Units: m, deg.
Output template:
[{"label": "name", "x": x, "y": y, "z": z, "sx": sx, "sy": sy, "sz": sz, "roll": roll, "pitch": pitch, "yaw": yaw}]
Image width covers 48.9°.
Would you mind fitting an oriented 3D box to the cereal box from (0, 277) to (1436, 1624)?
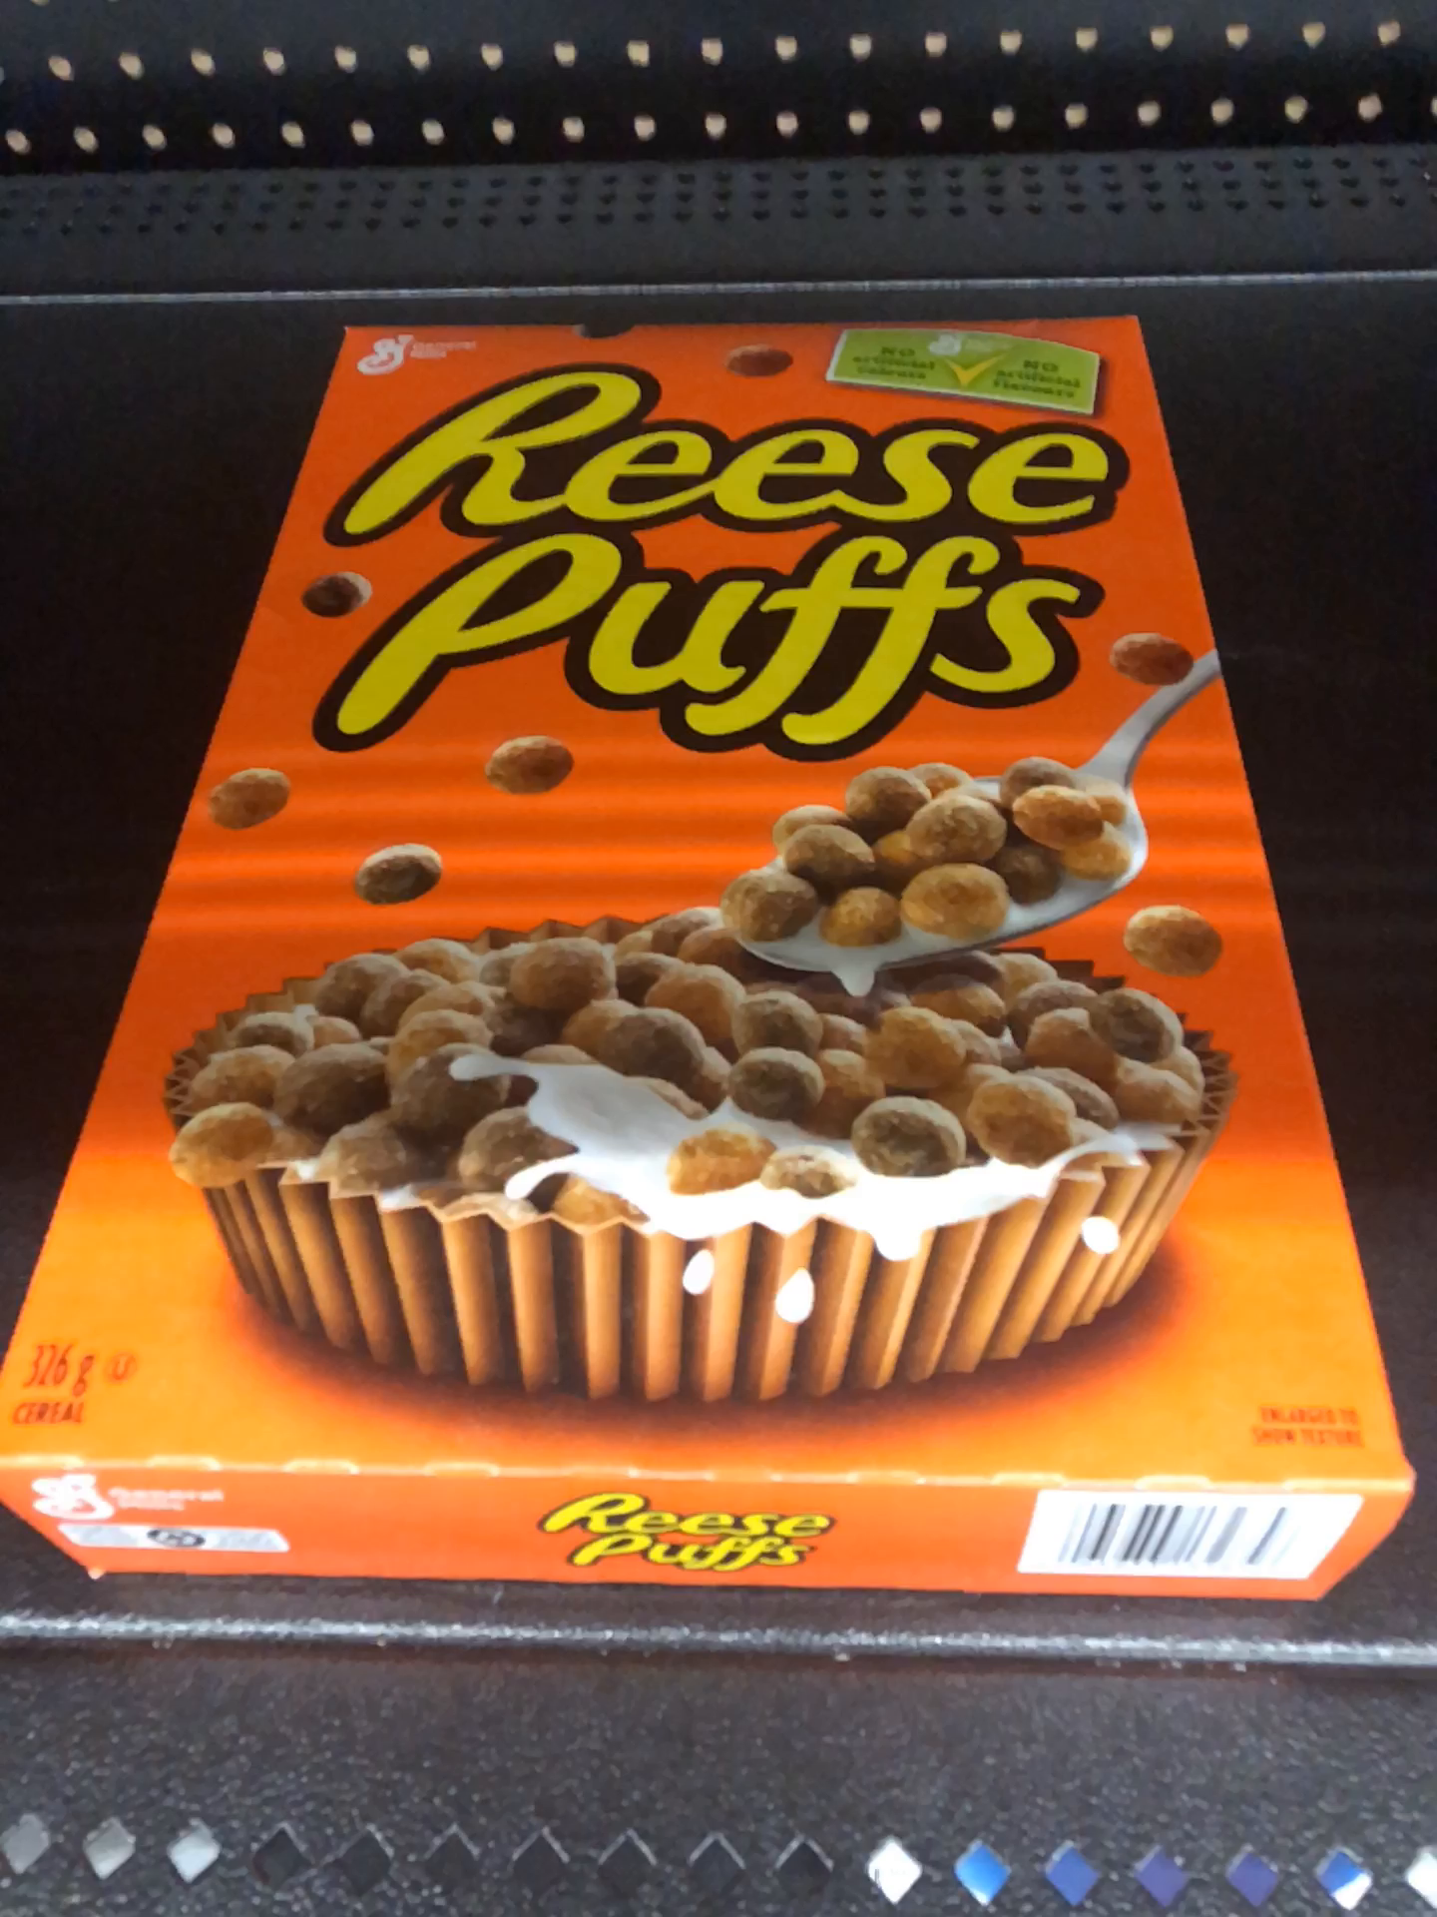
[{"label": "cereal box", "x": -0.001, "y": -0.032, "z": 0.310, "sx": 0.200, "sy": 0.050, "sz": 0.291, "roll": 0, "pitch": 52, "yaw": 3}]
